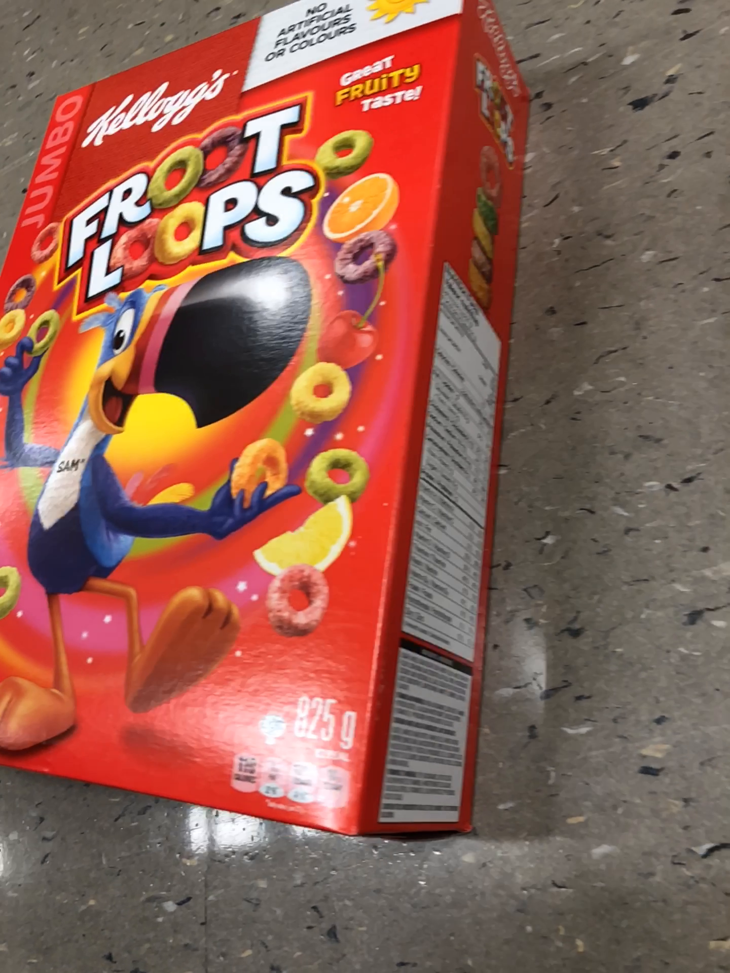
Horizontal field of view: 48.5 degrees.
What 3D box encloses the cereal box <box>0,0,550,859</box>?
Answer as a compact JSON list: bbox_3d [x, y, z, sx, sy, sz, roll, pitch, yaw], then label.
[{"bbox_3d":[-0.075,-0.059,0.348,0.271,0.080,0.360,-4,67,29],"label":"cereal box"}]
